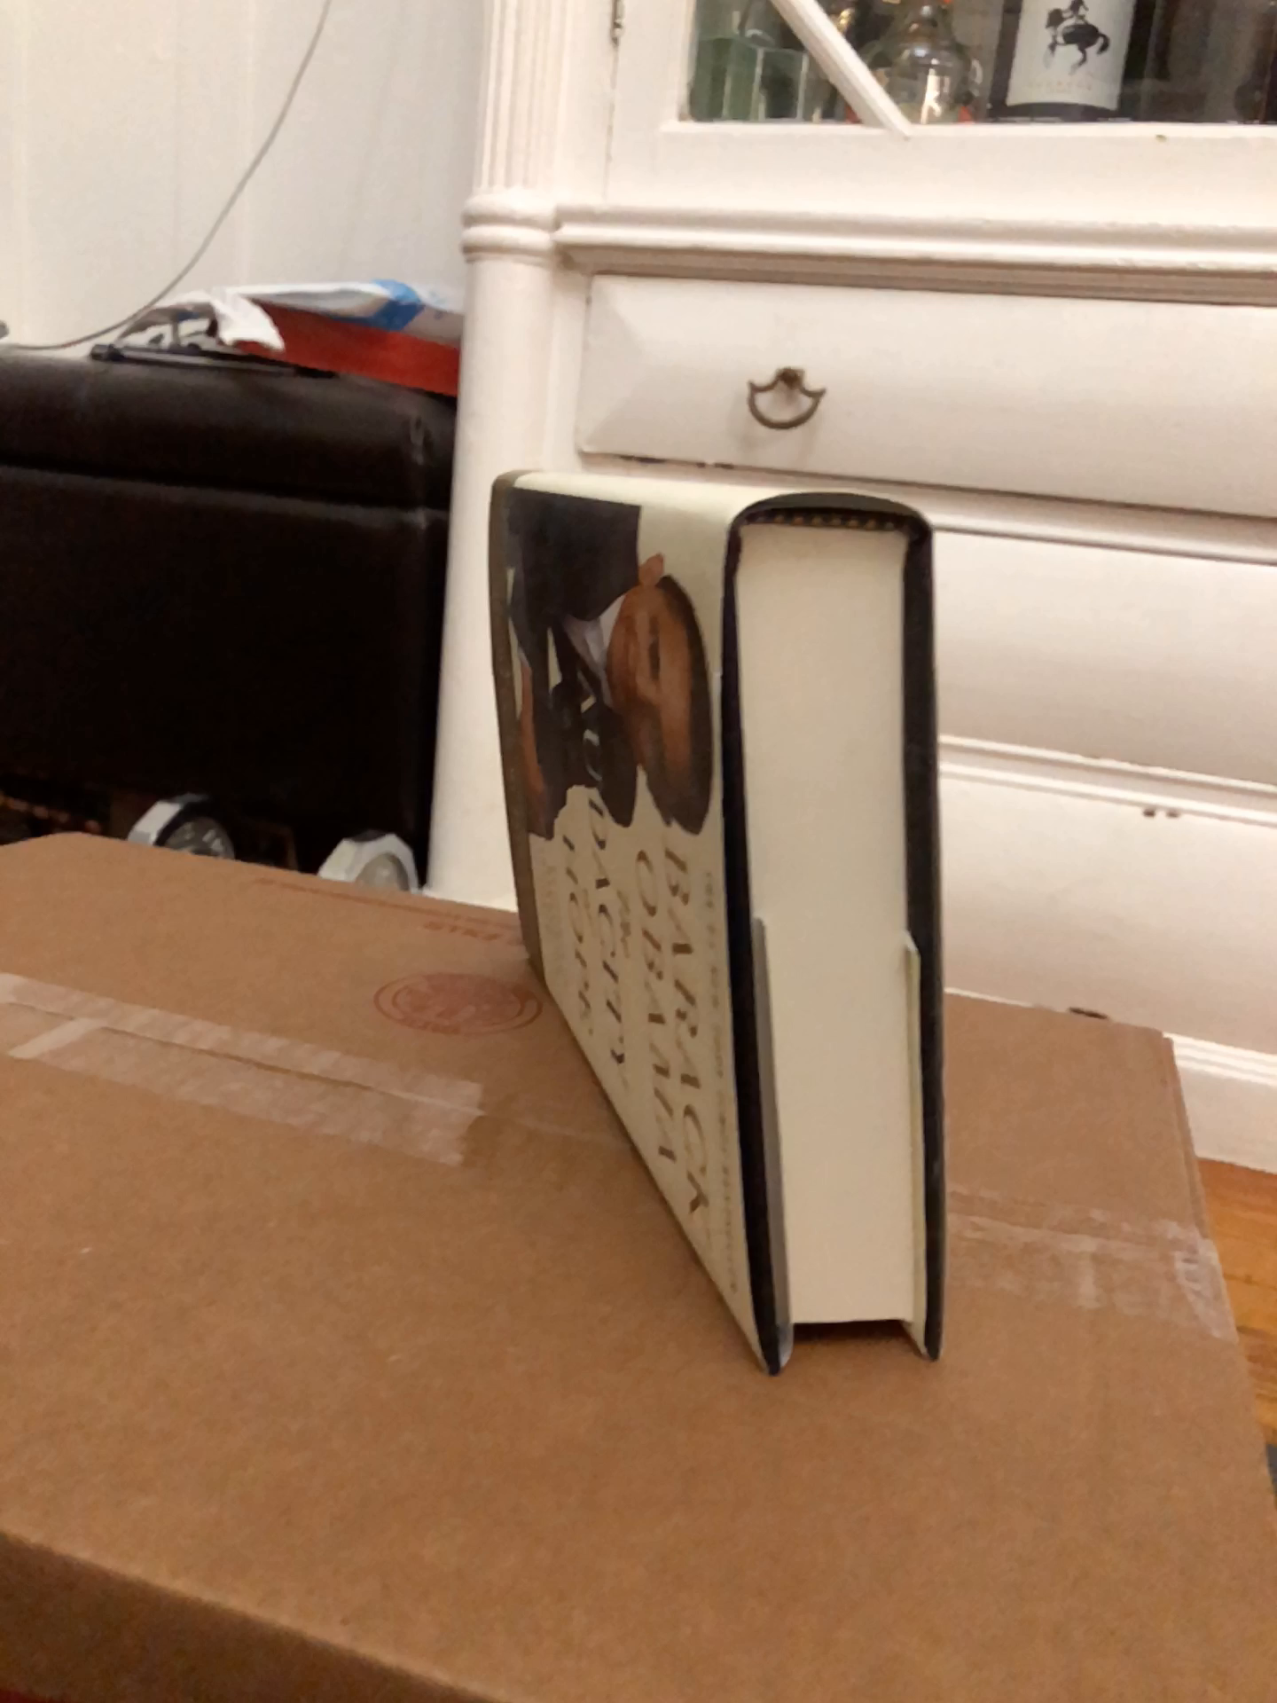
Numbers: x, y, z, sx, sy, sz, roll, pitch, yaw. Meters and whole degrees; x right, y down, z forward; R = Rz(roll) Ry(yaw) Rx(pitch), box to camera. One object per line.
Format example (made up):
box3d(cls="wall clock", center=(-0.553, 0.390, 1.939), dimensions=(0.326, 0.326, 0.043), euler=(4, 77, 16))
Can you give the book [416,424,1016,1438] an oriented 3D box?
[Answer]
box3d(cls="book", center=(0.001, -0.011, 0.356), dimensions=(0.060, 0.169, 0.251), euler=(-9, 16, -14))
